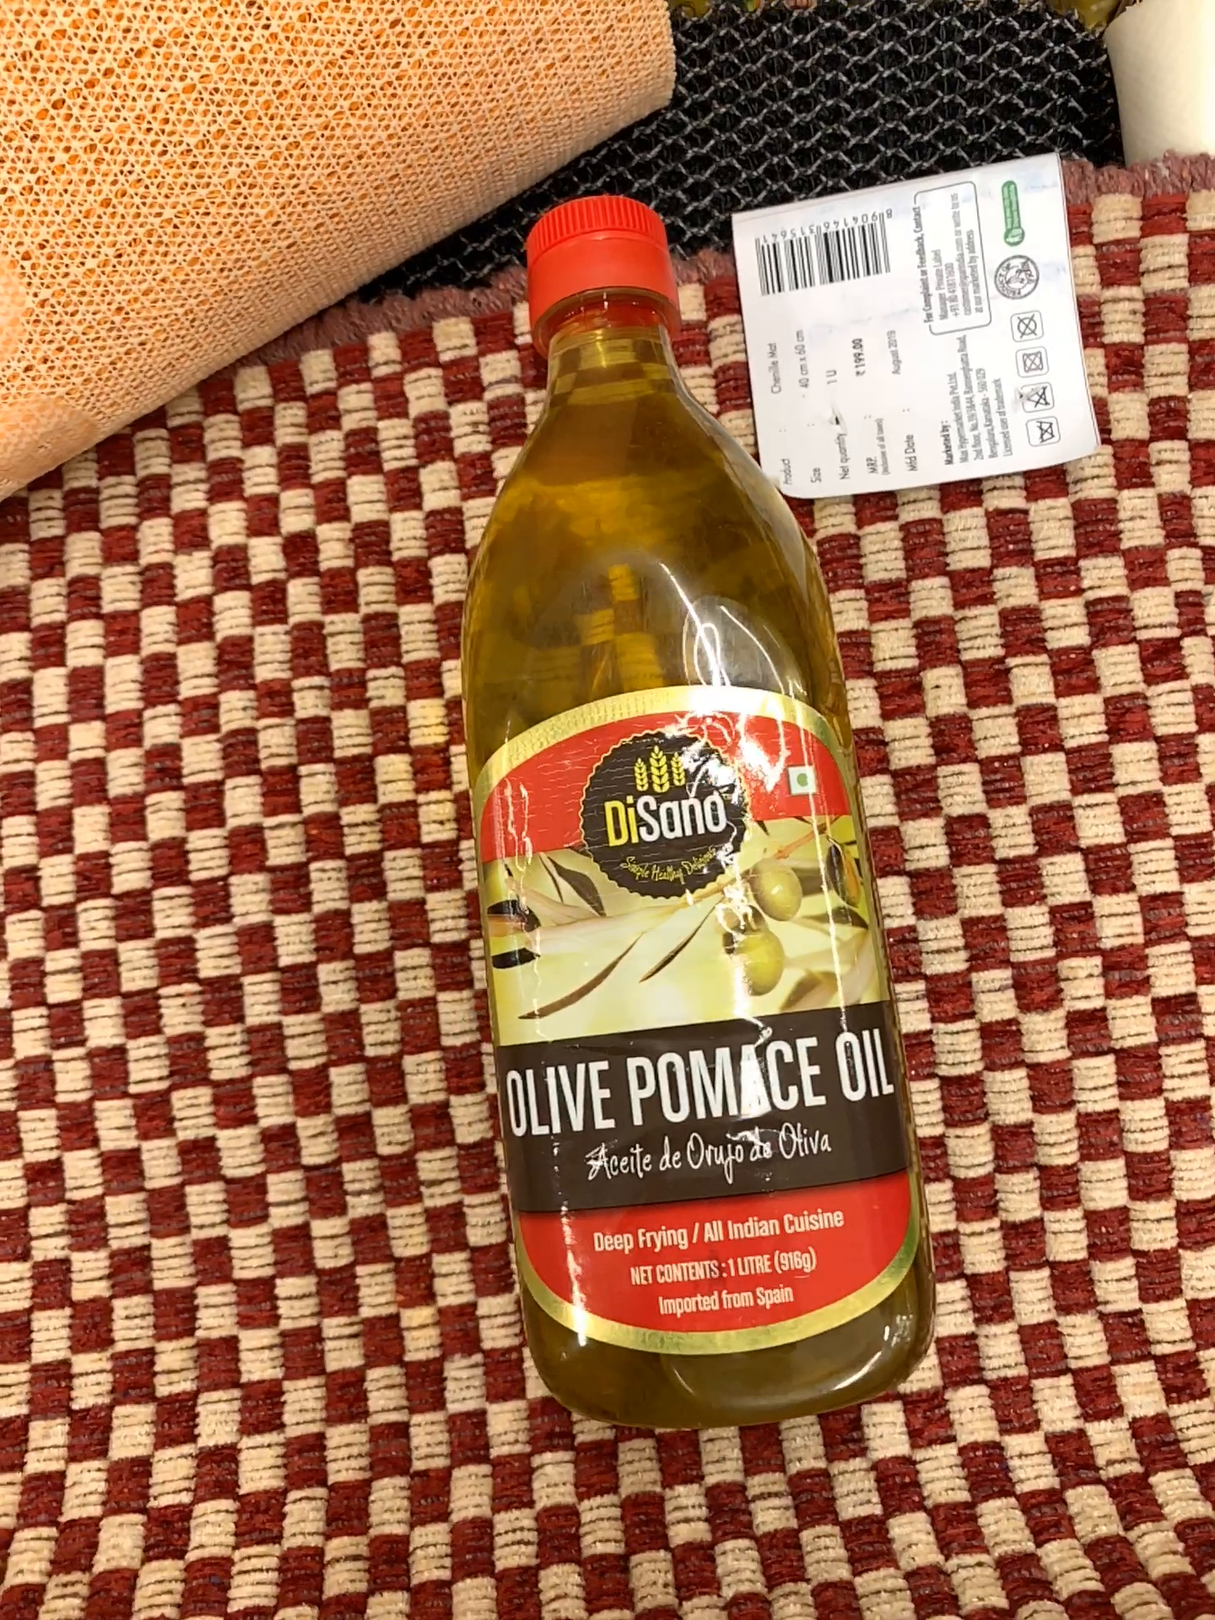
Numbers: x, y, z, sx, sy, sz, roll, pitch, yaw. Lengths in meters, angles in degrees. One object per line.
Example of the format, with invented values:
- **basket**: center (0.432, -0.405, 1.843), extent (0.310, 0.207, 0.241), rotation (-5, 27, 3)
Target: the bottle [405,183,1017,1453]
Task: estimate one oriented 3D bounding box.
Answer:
- **bottle**: center (0.013, -0.001, 0.252), extent (0.080, 0.080, 0.210), rotation (-6, 81, -1)
